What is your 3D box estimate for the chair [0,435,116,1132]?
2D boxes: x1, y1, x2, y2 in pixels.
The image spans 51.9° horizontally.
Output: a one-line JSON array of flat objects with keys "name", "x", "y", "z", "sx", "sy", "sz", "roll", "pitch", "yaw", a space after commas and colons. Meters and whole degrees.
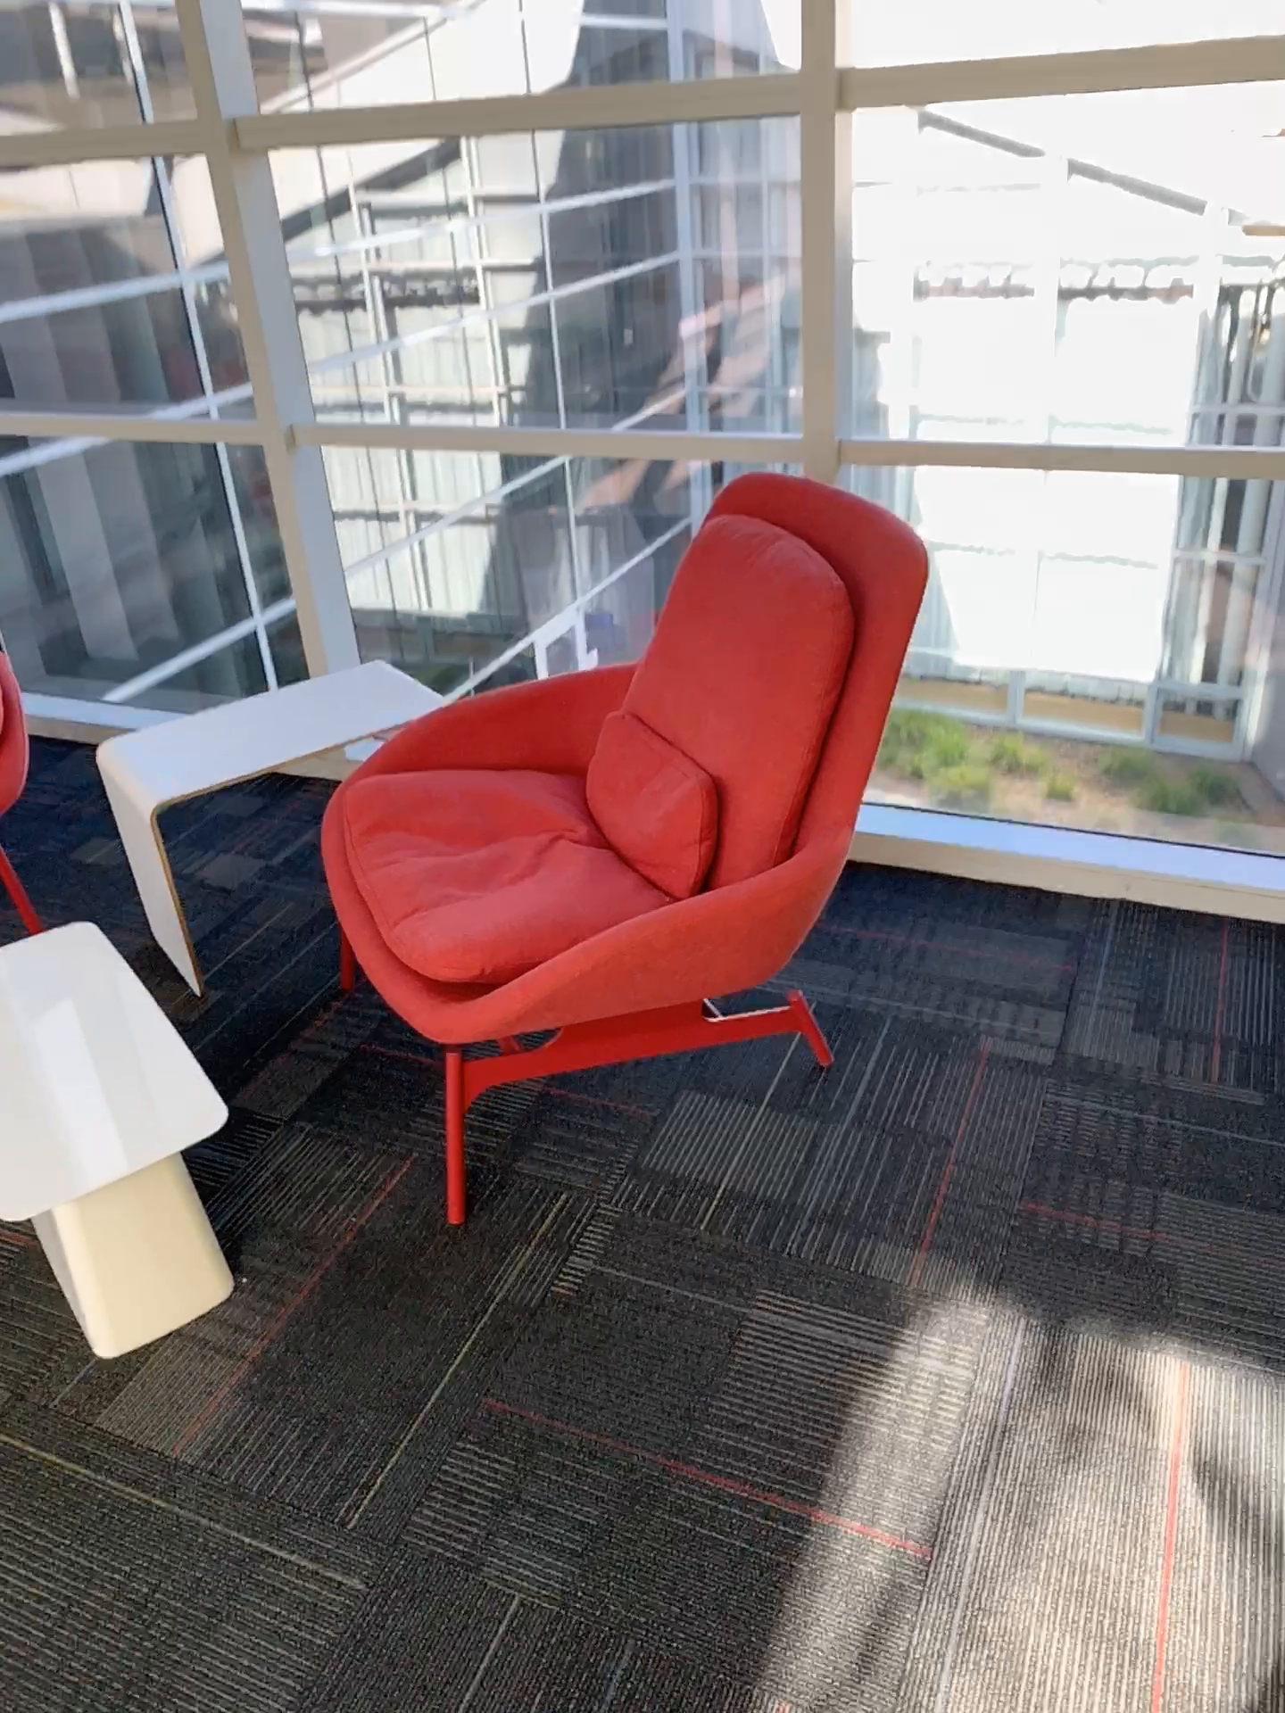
[{"name": "chair", "x": -1.788, "y": -0.218, "z": 2.813, "sx": 0.870, "sy": 1.054, "sz": 0.825, "roll": -19, "pitch": 33, "yaw": -25}]

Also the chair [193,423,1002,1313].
[{"name": "chair", "x": -0.085, "y": -0.073, "z": 2.218, "sx": 0.920, "sy": 0.994, "sz": 0.875, "roll": -18, "pitch": 32, "yaw": -23}]
